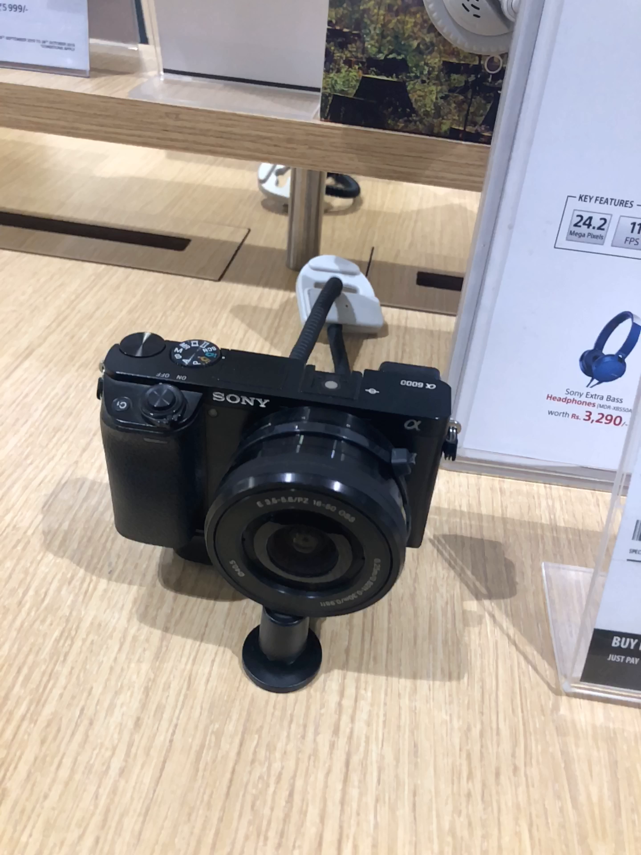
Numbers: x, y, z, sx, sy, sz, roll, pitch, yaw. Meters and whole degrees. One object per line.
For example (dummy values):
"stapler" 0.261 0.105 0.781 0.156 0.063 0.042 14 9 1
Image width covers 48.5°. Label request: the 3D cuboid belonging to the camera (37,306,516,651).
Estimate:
"camera" -0.011 0.015 0.239 0.130 0.070 0.070 8 37 2
